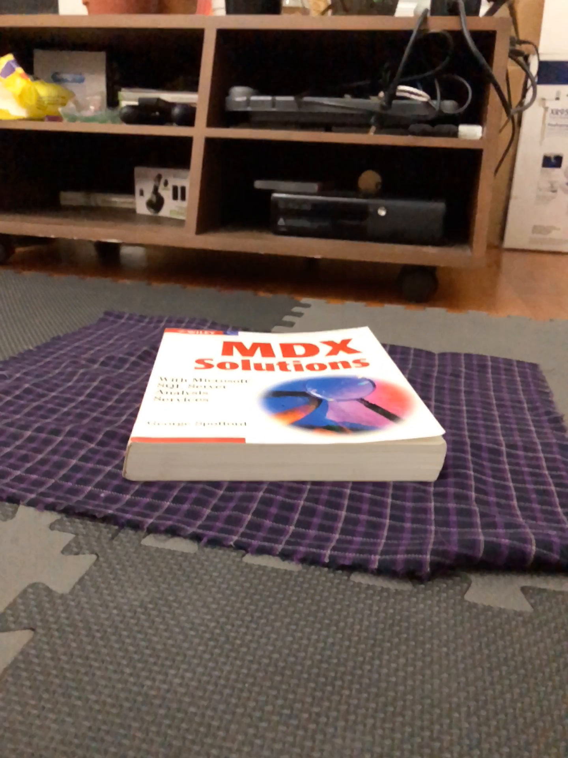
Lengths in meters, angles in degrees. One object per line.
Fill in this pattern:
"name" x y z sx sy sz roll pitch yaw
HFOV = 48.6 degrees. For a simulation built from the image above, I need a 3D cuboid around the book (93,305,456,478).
"book" -0.015 -0.004 0.511 0.220 0.050 0.261 1 19 -6
